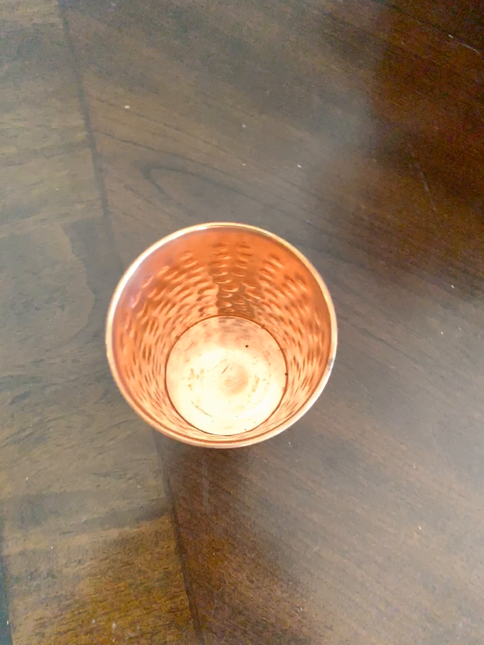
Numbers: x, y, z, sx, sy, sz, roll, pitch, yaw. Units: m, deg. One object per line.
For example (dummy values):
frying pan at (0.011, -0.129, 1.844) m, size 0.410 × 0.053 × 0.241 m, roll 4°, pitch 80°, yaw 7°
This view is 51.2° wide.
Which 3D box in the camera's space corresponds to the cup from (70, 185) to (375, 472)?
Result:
cup at (-0.008, 0.010, 0.187) m, size 0.070 × 0.083 × 0.066 m, roll 0°, pitch 74°, yaw -2°
